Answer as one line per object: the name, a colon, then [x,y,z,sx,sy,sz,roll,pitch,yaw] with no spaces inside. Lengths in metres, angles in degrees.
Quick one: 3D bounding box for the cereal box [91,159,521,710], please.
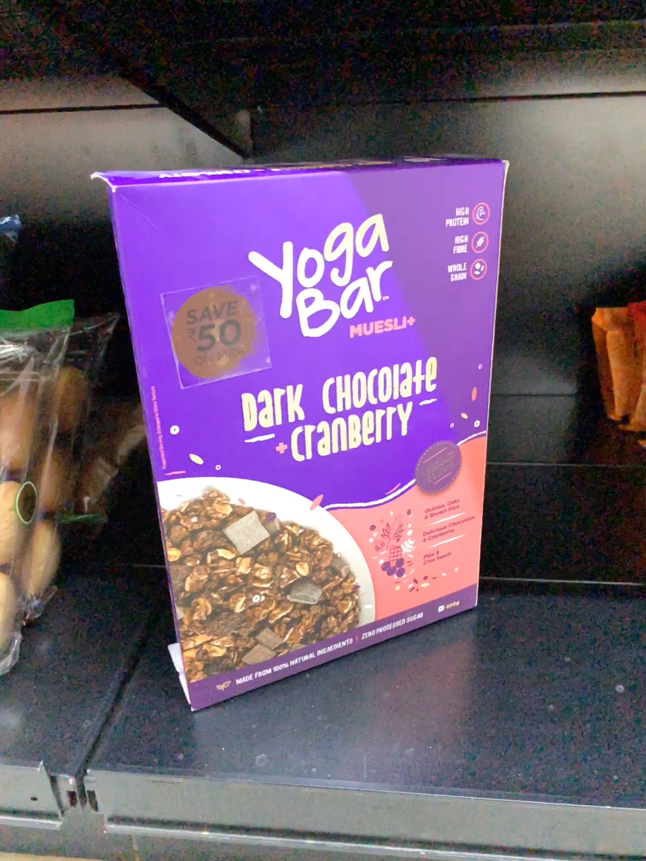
cereal box: [0.000,-0.003,0.316,0.170,0.228,0.050,-11,24,-22]
